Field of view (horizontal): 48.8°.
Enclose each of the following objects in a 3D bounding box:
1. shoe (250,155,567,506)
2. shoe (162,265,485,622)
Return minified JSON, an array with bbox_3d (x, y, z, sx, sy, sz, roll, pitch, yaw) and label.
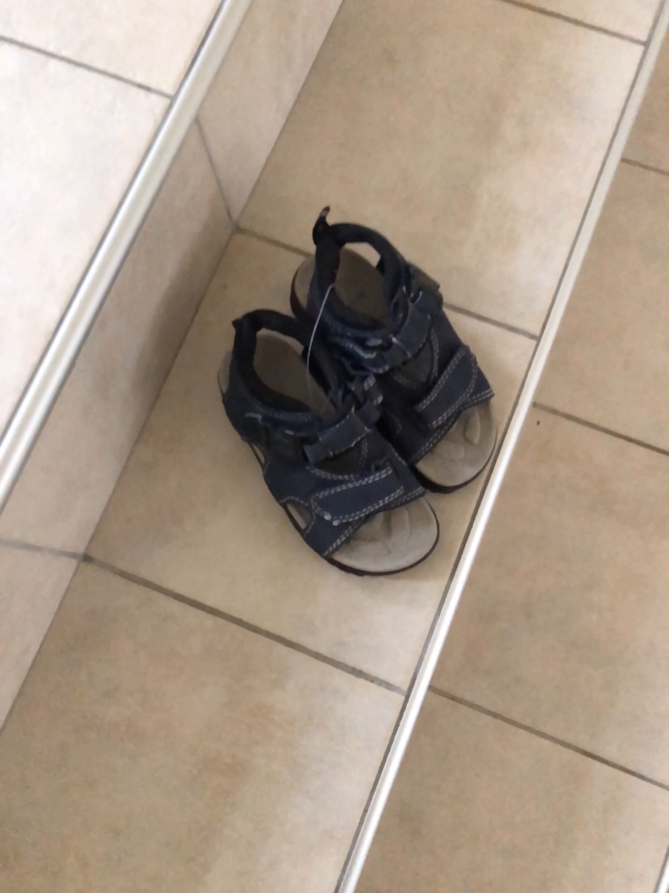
[{"bbox_3d":[0.049,-0.083,0.554,0.100,0.090,0.230,-36,79,-6],"label":"shoe"},{"bbox_3d":[-0.010,0.001,0.537,0.100,0.090,0.230,-36,79,-6],"label":"shoe"}]
